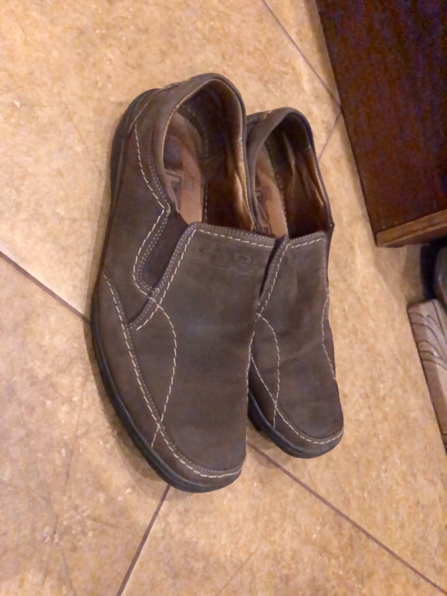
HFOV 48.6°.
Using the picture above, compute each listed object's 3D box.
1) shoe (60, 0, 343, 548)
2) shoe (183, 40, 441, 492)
[{"bbox_3d":[-0.019,-0.019,0.332,0.121,0.090,0.300,-1,79,-40],"label":"shoe"},{"bbox_3d":[0.066,-0.023,0.391,0.121,0.090,0.300,-4,81,-41],"label":"shoe"}]
